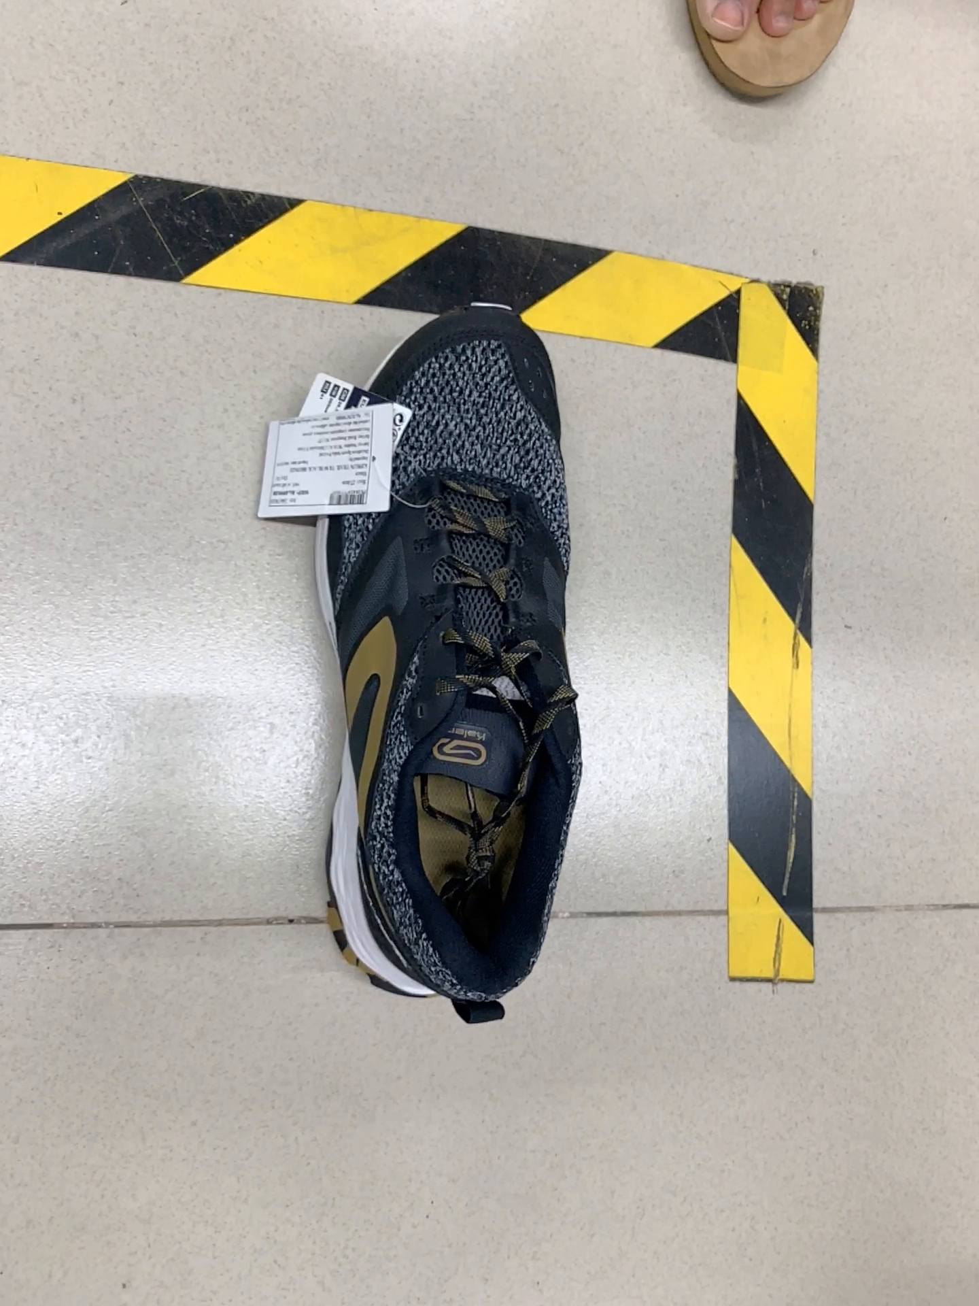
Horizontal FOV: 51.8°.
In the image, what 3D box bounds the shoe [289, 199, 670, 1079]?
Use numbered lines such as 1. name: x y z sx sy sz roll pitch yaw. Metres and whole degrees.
1. shoe: -0.007 -0.002 0.403 0.110 0.100 0.300 5 84 -15
